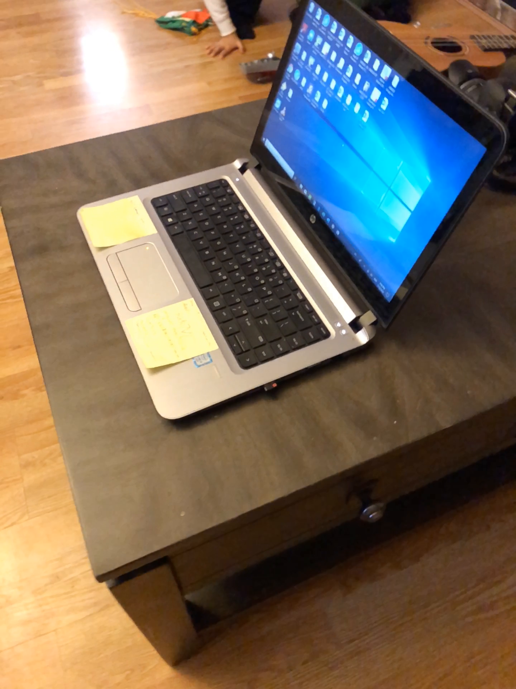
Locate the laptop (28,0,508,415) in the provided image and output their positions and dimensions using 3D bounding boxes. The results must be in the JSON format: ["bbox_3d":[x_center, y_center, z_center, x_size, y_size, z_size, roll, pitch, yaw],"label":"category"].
[{"bbox_3d":[-0.011,-0.163,0.575,0.313,0.203,0.316,-20,56,-15],"label":"laptop"}]
